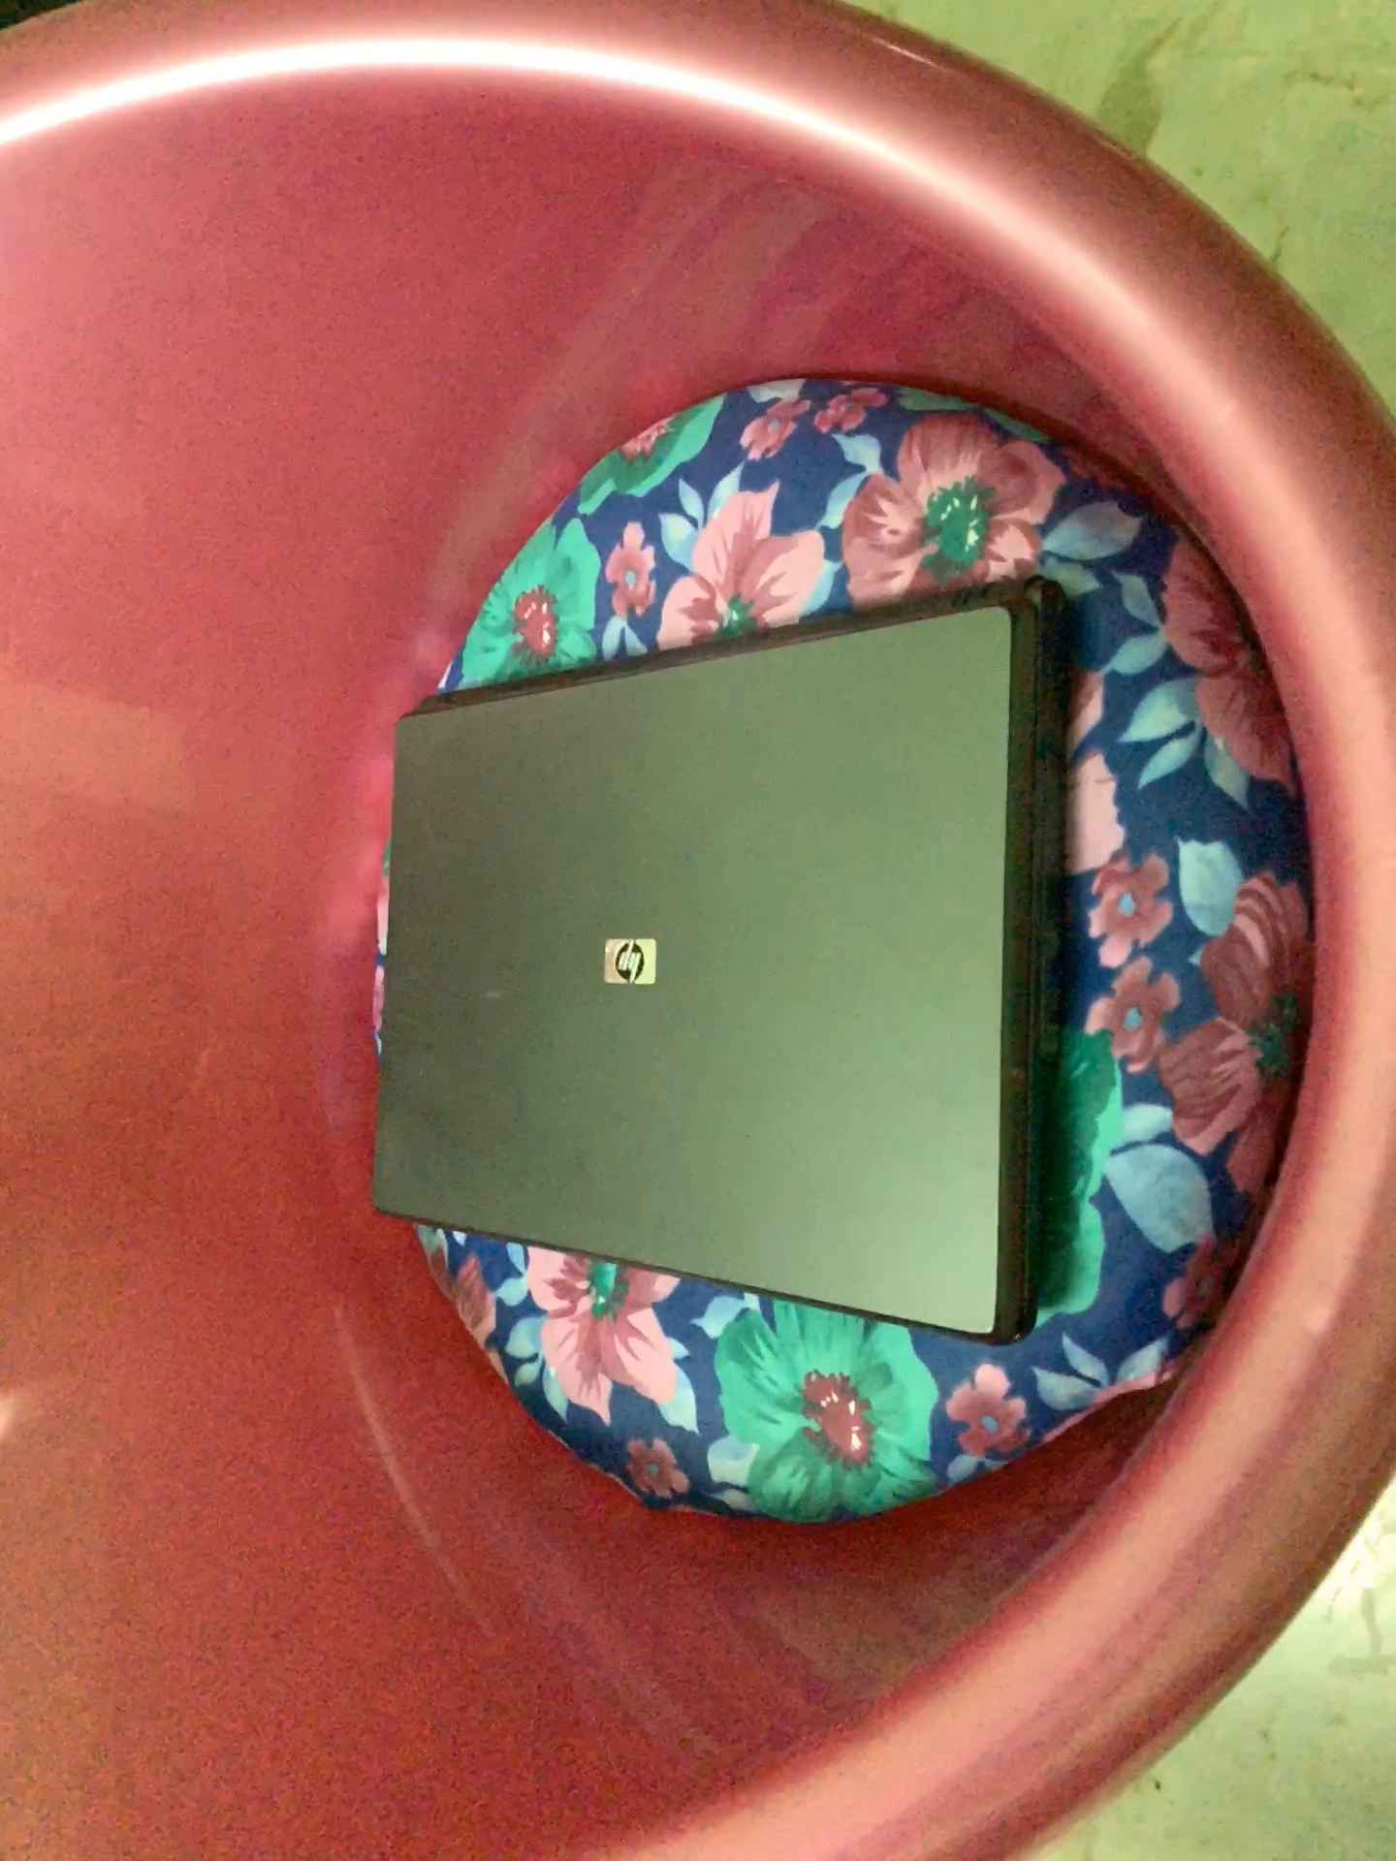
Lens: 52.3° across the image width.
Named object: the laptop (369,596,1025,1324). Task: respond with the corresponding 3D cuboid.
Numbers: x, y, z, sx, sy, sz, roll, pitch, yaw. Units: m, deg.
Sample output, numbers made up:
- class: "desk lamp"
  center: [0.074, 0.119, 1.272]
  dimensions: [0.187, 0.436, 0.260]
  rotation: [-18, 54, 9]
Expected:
- class: "laptop"
  center: [-0.021, 0.009, 0.531]
  dimensions: [0.305, 0.003, 0.222]
  rotation: [0, 87, 39]
